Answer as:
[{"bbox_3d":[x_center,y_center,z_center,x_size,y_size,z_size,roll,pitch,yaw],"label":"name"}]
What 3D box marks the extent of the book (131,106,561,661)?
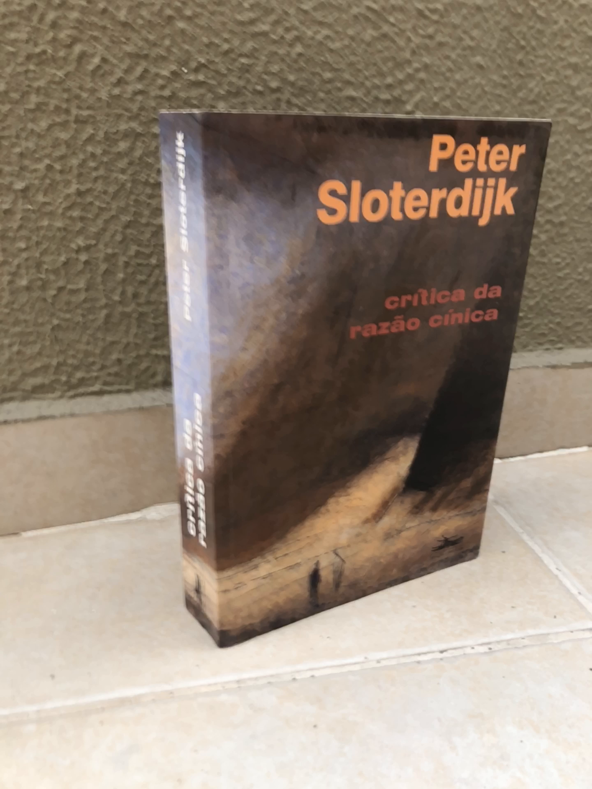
[{"bbox_3d":[0.022,-0.011,0.303,0.165,0.220,0.058,-11,25,-26],"label":"book"}]
